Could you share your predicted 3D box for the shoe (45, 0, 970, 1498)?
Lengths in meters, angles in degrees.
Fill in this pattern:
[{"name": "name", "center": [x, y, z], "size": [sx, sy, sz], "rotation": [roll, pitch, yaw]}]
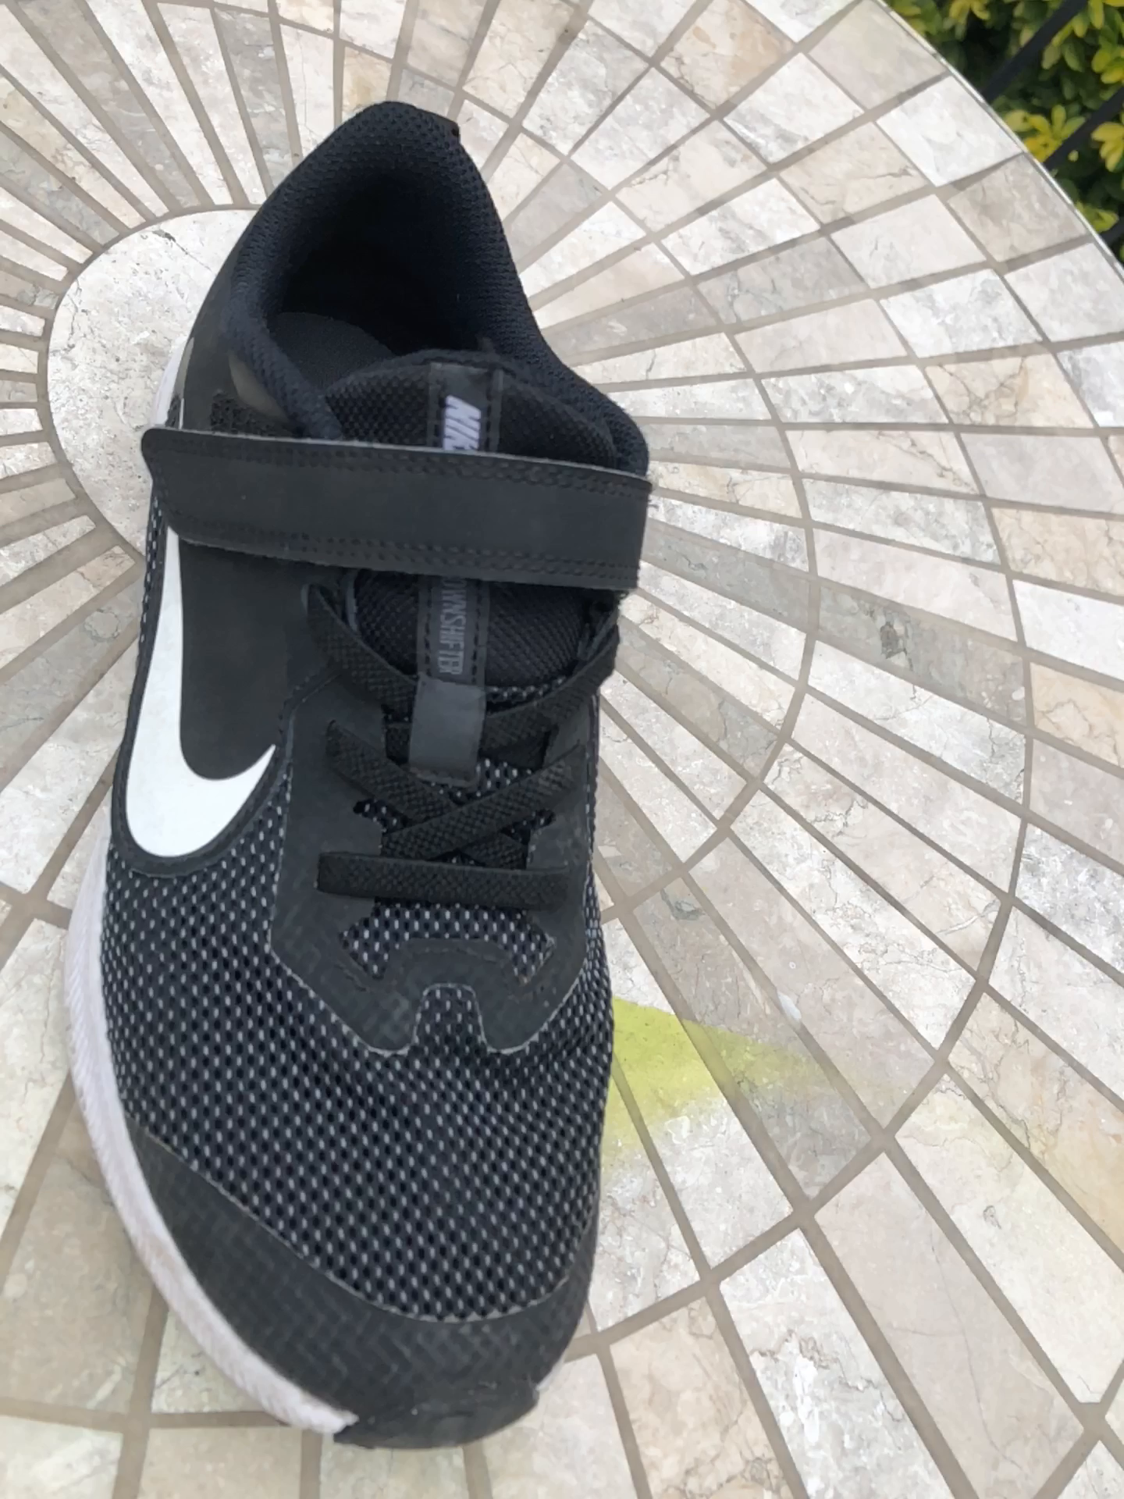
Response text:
[{"name": "shoe", "center": [-0.030, -0.007, 0.222], "size": [0.100, 0.100, 0.251], "rotation": [3, 65, -25]}]
